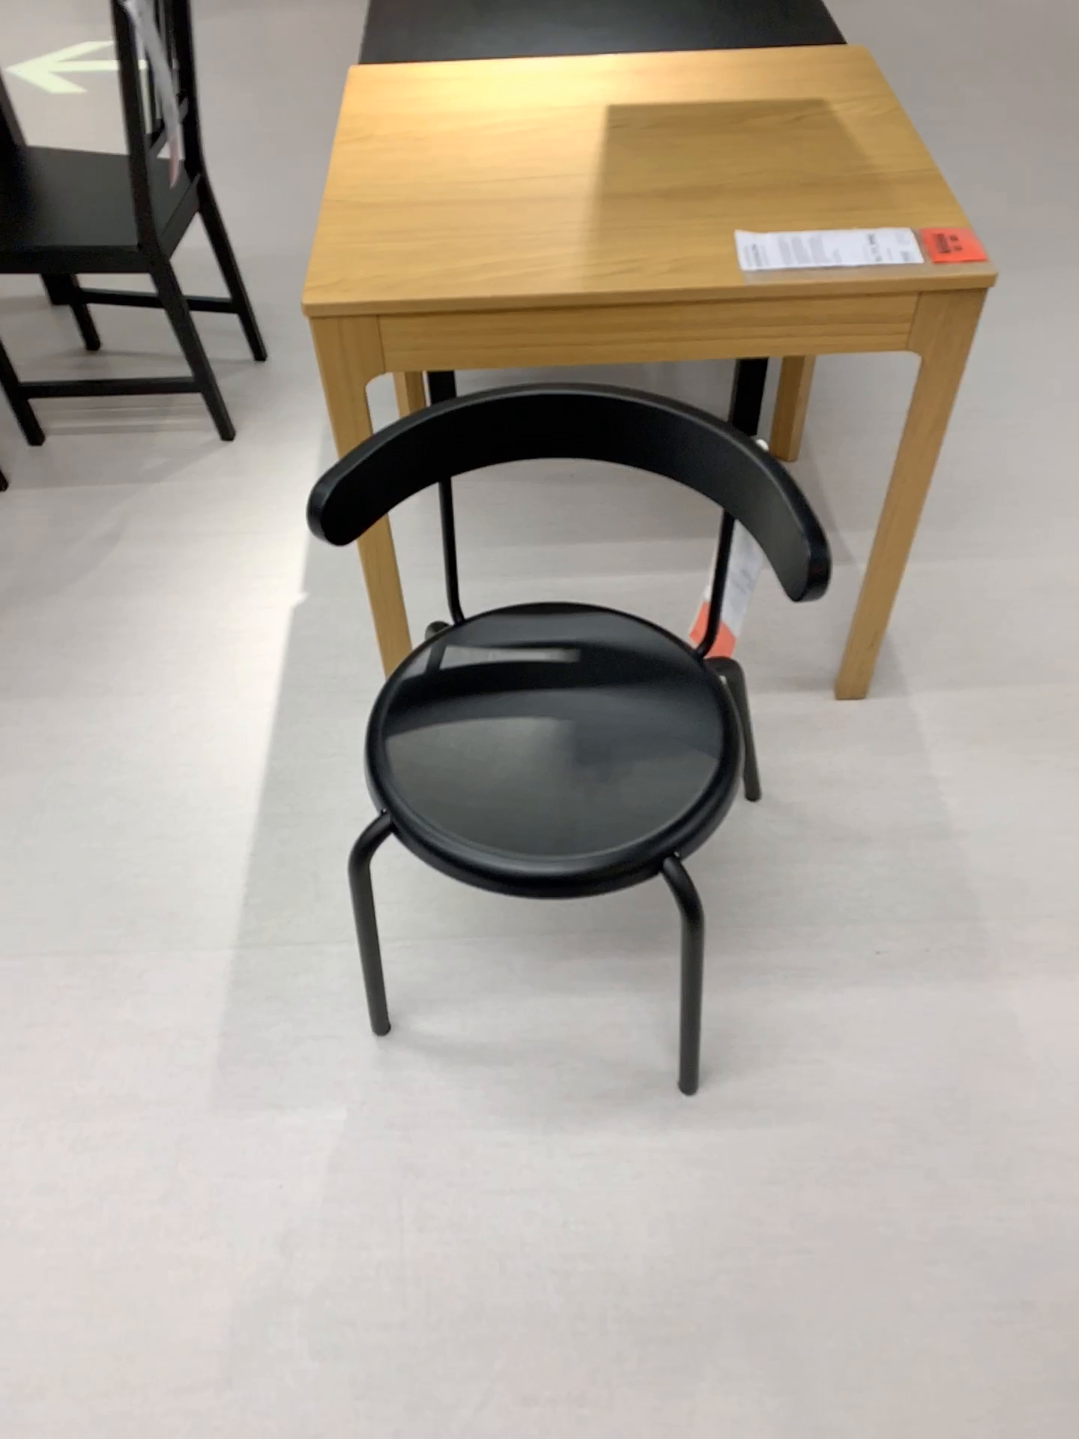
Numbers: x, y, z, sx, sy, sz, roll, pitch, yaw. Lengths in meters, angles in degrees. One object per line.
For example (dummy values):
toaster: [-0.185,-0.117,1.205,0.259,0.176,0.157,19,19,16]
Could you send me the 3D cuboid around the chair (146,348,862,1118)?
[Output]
chair: [0.020,0.014,1.316,0.590,0.598,0.612,8,51,9]
